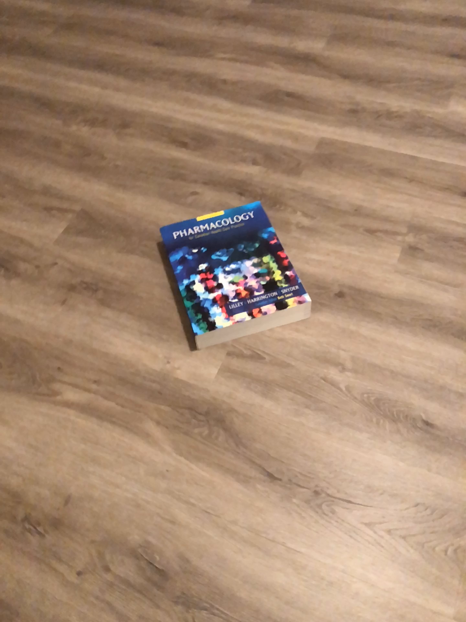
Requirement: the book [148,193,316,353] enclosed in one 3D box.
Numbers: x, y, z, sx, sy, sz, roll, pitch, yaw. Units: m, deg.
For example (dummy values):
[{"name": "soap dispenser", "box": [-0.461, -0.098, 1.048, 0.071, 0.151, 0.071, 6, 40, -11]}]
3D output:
[{"name": "book", "box": [-0.011, -0.082, 0.943, 0.228, 0.046, 0.278, -17, 55, -8]}]
